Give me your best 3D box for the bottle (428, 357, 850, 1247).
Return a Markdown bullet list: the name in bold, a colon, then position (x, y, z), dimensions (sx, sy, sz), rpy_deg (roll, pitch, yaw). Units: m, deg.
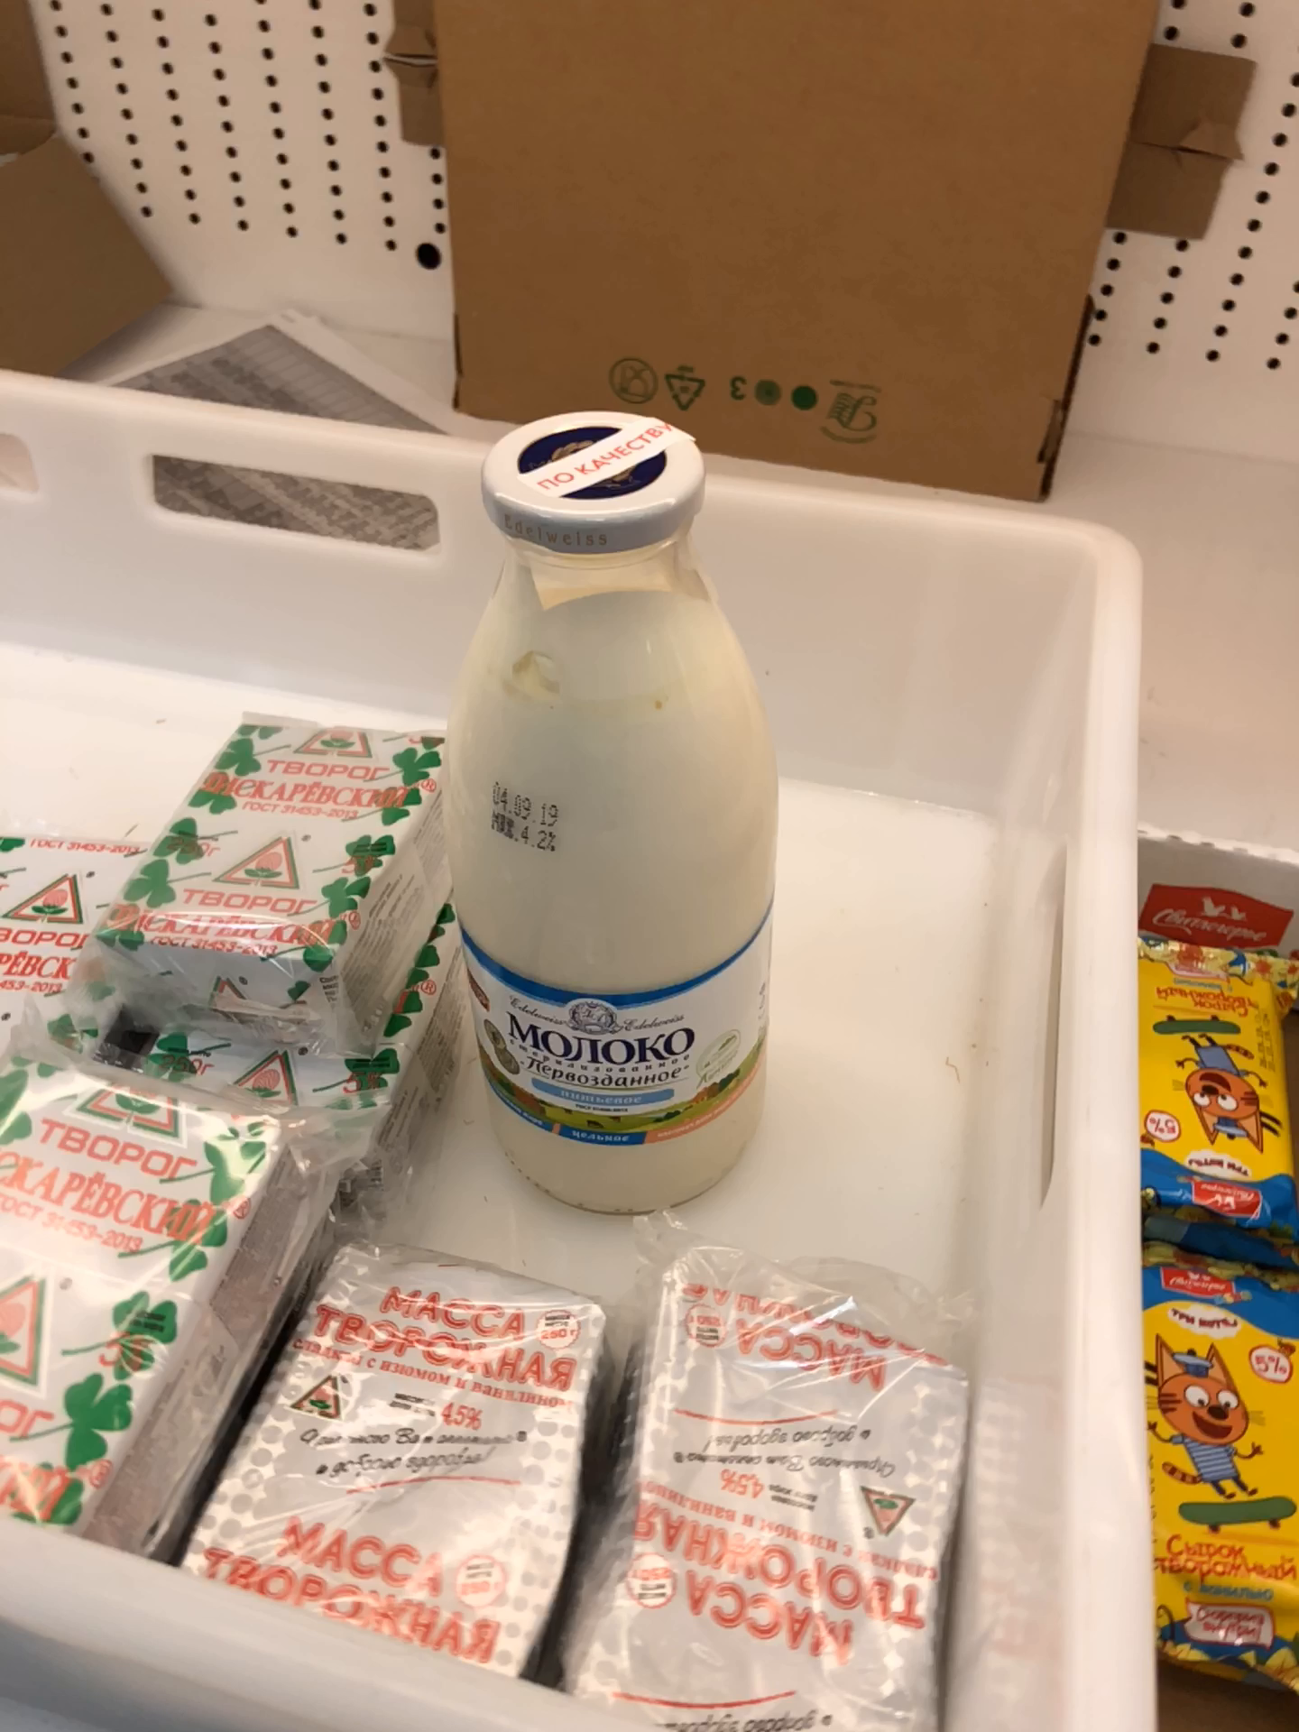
- **bottle**: position (-0.002, -0.002, 0.359), dimensions (0.071, 0.220, 0.073), rpy_deg (1, 44, -1)
